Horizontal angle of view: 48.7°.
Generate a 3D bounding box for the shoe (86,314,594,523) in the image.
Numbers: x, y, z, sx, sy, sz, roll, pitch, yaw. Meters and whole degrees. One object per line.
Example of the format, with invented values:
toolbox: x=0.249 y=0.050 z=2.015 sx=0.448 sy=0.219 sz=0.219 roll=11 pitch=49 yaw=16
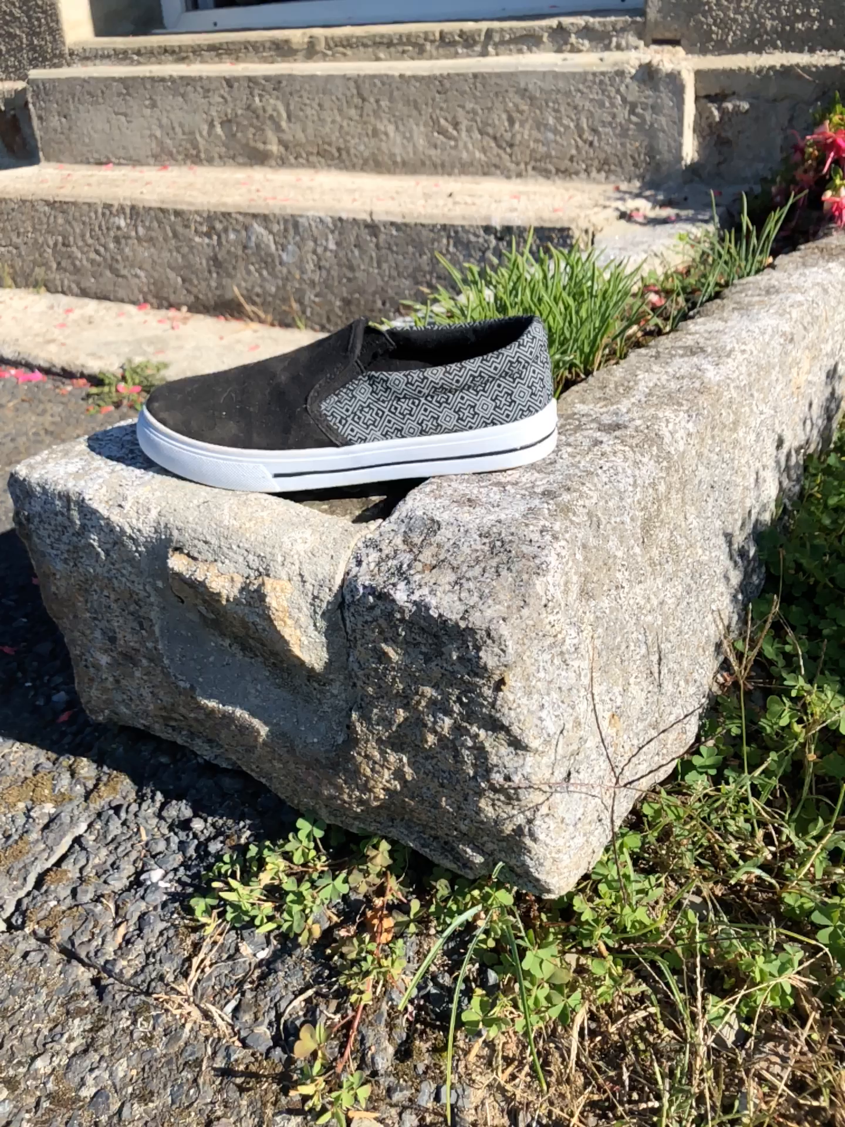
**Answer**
shoe: x=-0.038 y=-0.088 z=0.528 sx=0.260 sy=0.080 sz=0.101 roll=4 pitch=29 yaw=11
